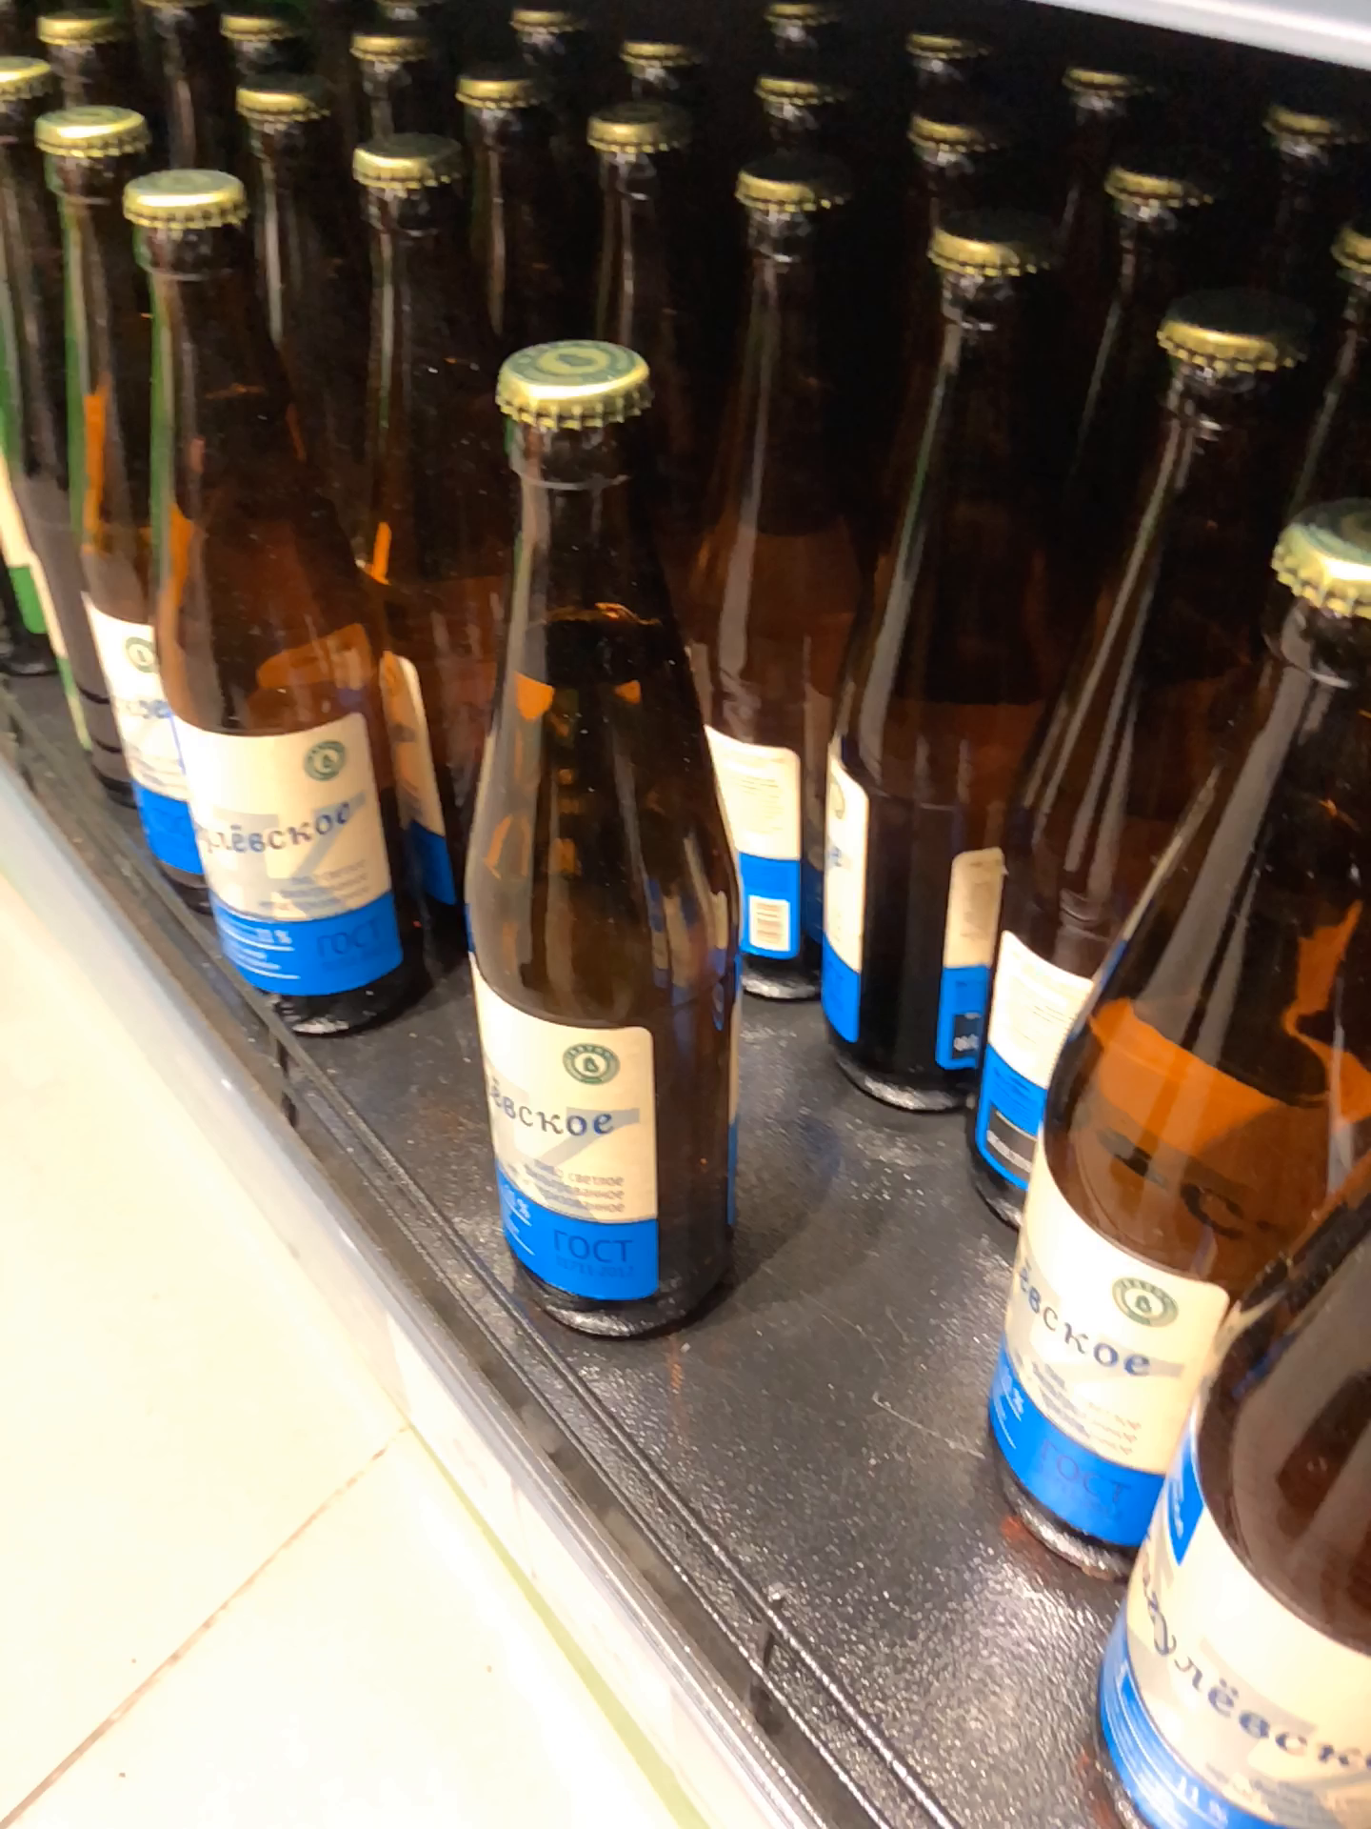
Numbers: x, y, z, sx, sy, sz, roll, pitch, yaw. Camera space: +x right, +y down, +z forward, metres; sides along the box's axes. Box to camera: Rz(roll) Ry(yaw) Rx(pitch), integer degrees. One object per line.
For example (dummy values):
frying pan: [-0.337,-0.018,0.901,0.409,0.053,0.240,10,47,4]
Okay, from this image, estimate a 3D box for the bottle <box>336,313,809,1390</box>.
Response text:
bottle: [-0.019,0.002,0.353,0.070,0.249,0.070,-1,41,1]
